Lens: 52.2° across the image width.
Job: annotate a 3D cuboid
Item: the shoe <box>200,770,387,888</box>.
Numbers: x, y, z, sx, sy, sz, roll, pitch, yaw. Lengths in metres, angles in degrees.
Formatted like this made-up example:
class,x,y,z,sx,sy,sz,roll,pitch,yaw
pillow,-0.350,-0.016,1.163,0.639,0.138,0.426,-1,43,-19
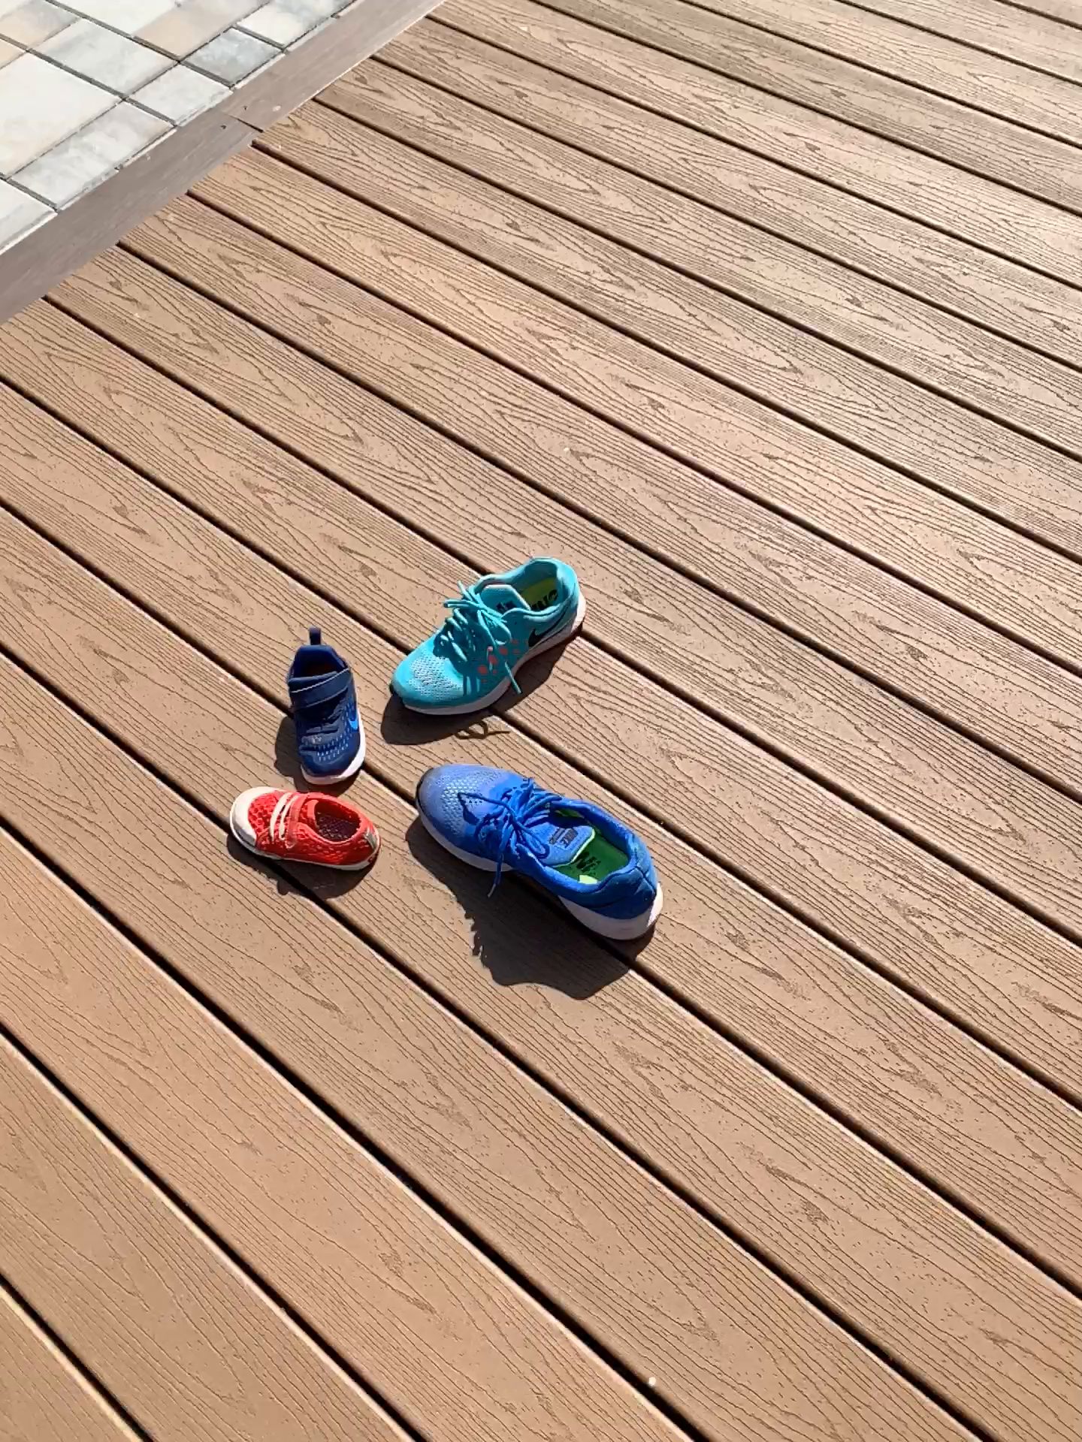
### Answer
class,x,y,z,sx,sy,sz,roll,pitch,yaw
shoe,-0.262,0.115,1.179,0.170,0.060,0.080,9,61,8

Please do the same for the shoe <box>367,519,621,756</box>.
class,x,y,z,sx,sy,sz,roll,pitch,yaw
shoe,-0.050,-0.099,1.277,0.270,0.090,0.120,-37,65,-17

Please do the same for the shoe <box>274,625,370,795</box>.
class,x,y,z,sx,sy,sz,roll,pitch,yaw
shoe,-0.245,-0.013,1.236,0.090,0.070,0.170,-6,60,-1

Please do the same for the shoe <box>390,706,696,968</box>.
class,x,y,z,sx,sy,sz,roll,pitch,yaw
shoe,0.001,0.118,1.152,0.291,0.090,0.120,29,66,17
